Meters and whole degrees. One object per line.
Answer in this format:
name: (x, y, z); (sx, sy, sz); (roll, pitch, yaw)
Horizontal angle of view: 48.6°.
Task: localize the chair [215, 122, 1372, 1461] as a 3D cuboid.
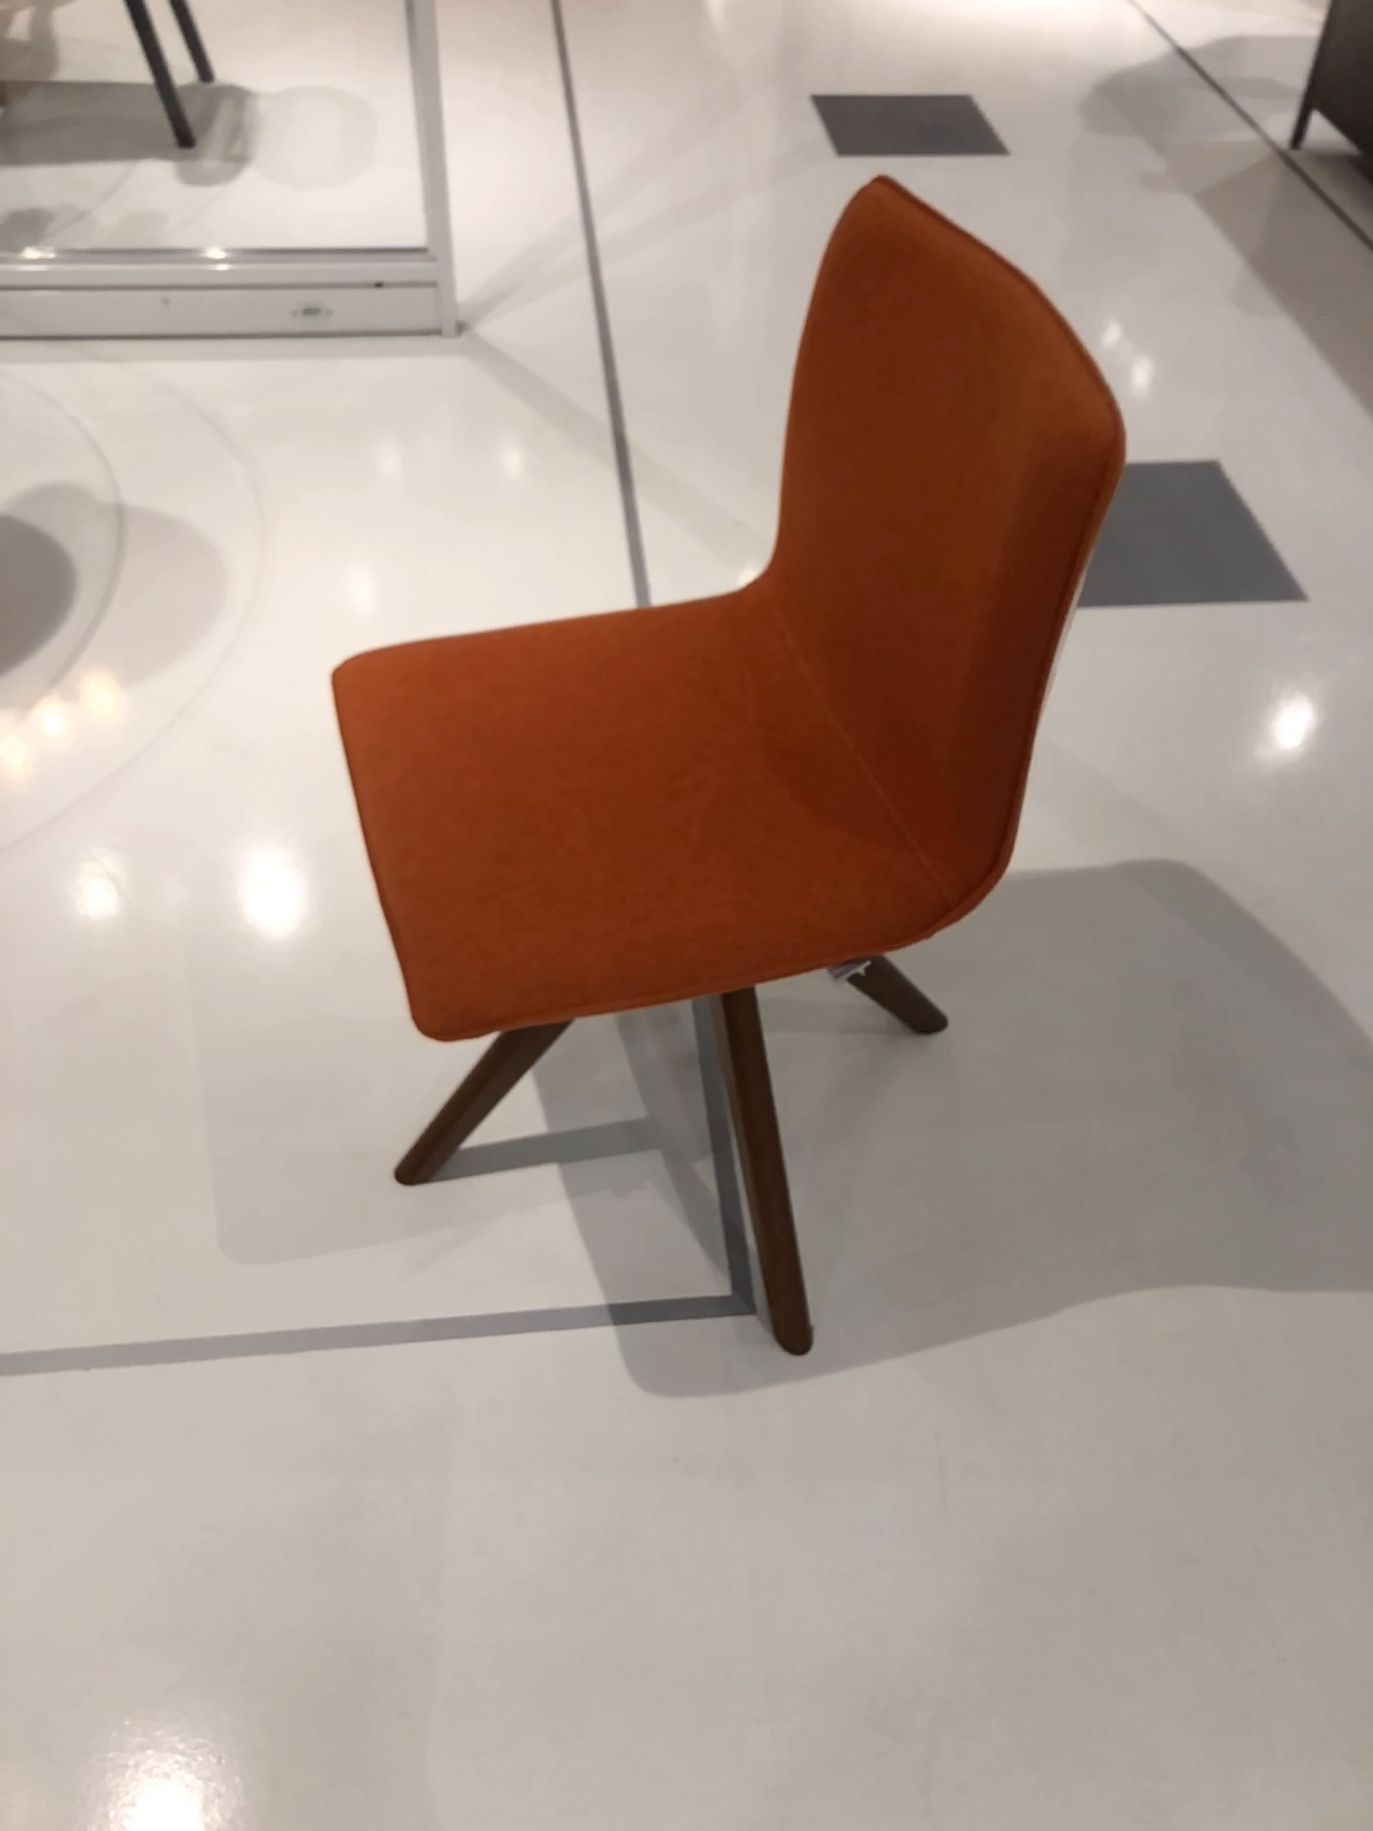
chair: (0.031, -0.097, 1.248); (0.611, 0.794, 0.614); (-12, 48, -13)
